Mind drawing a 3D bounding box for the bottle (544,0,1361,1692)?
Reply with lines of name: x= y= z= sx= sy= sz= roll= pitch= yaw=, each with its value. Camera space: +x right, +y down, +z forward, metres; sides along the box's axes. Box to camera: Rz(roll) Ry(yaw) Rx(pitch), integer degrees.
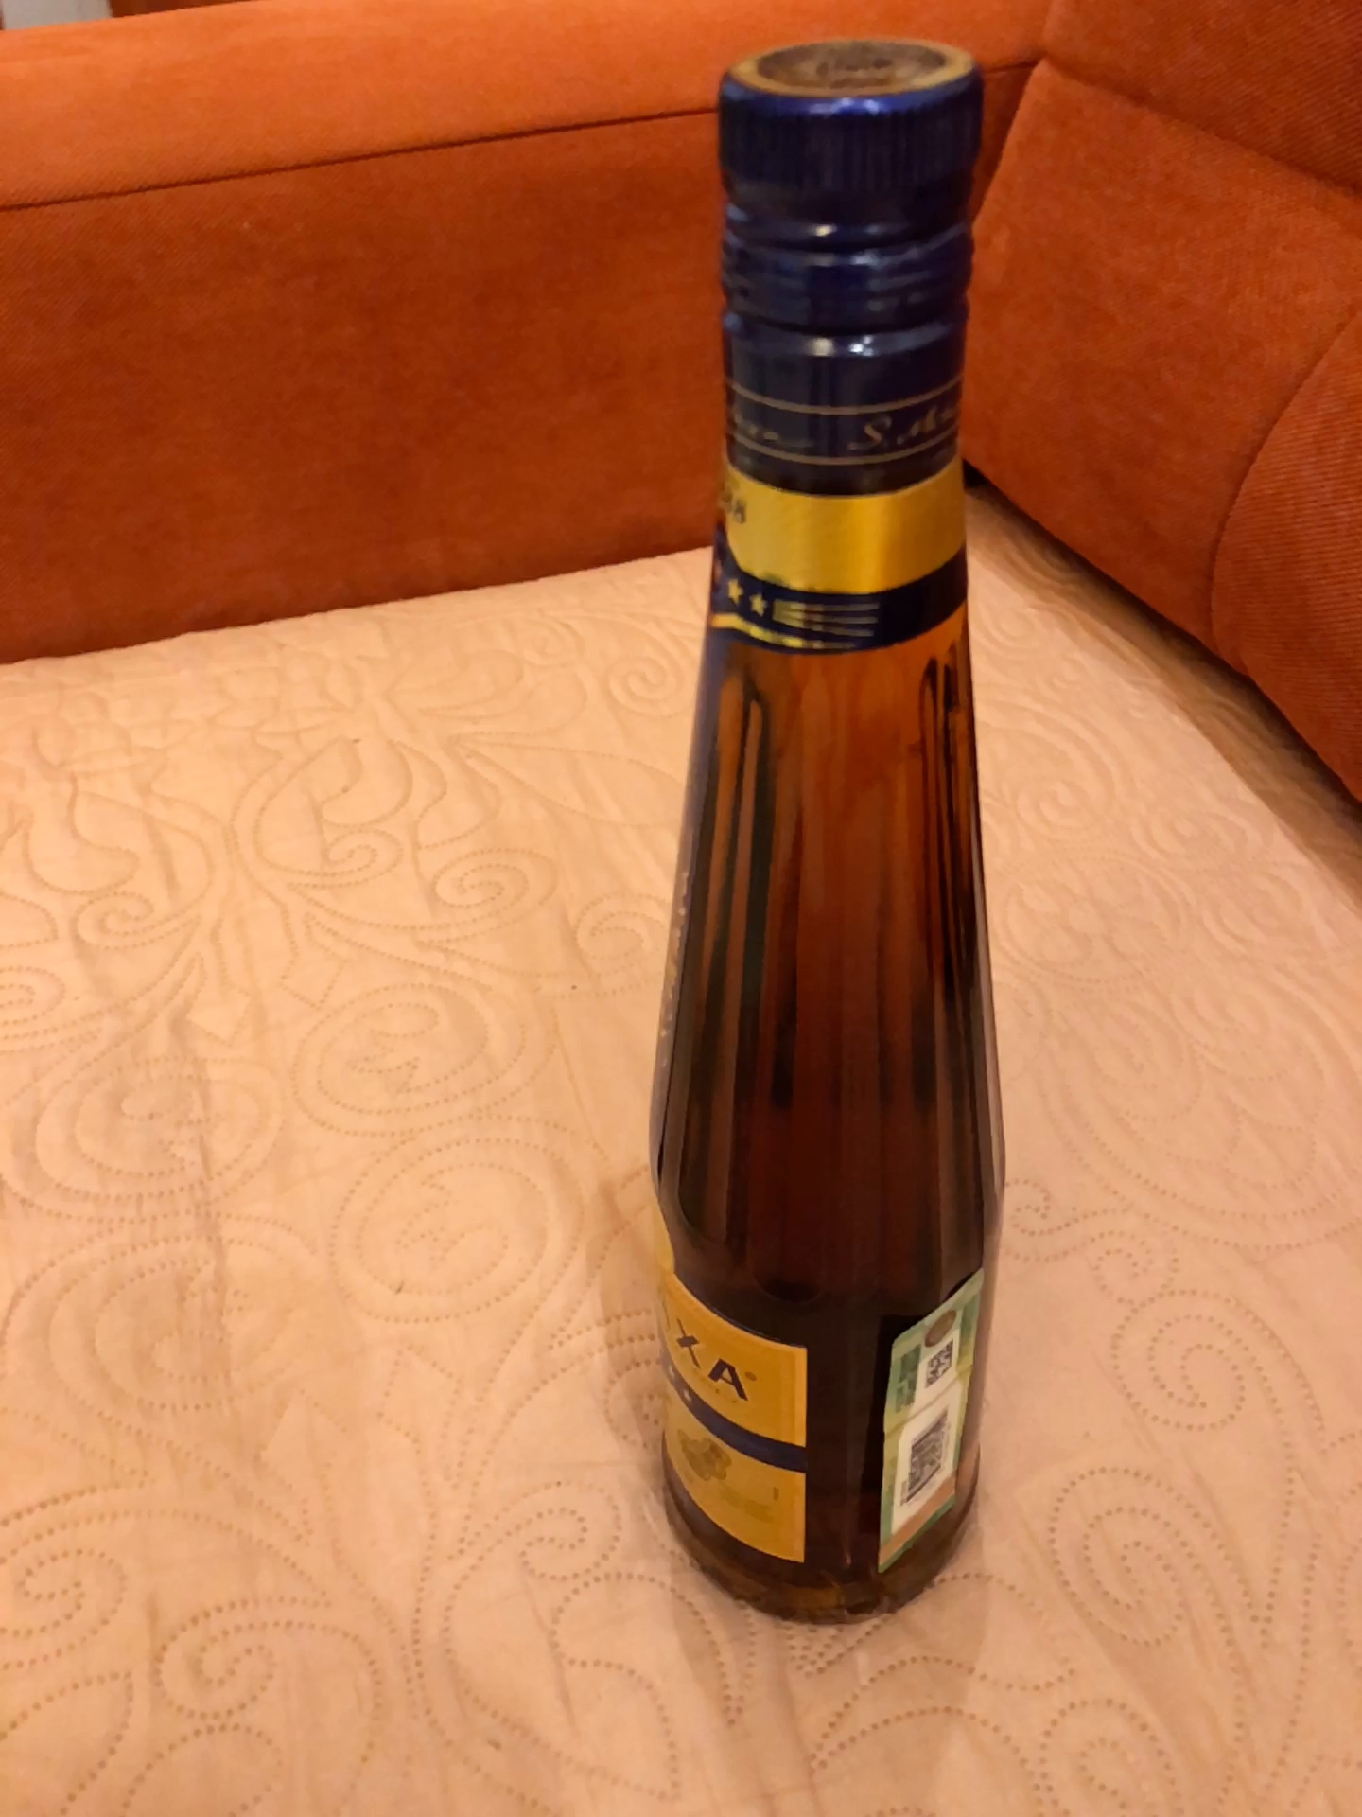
bottle: x=0.034 y=0.028 z=0.264 sx=0.090 sy=0.308 sz=0.101 roll=-4 pitch=45 yaw=-3
